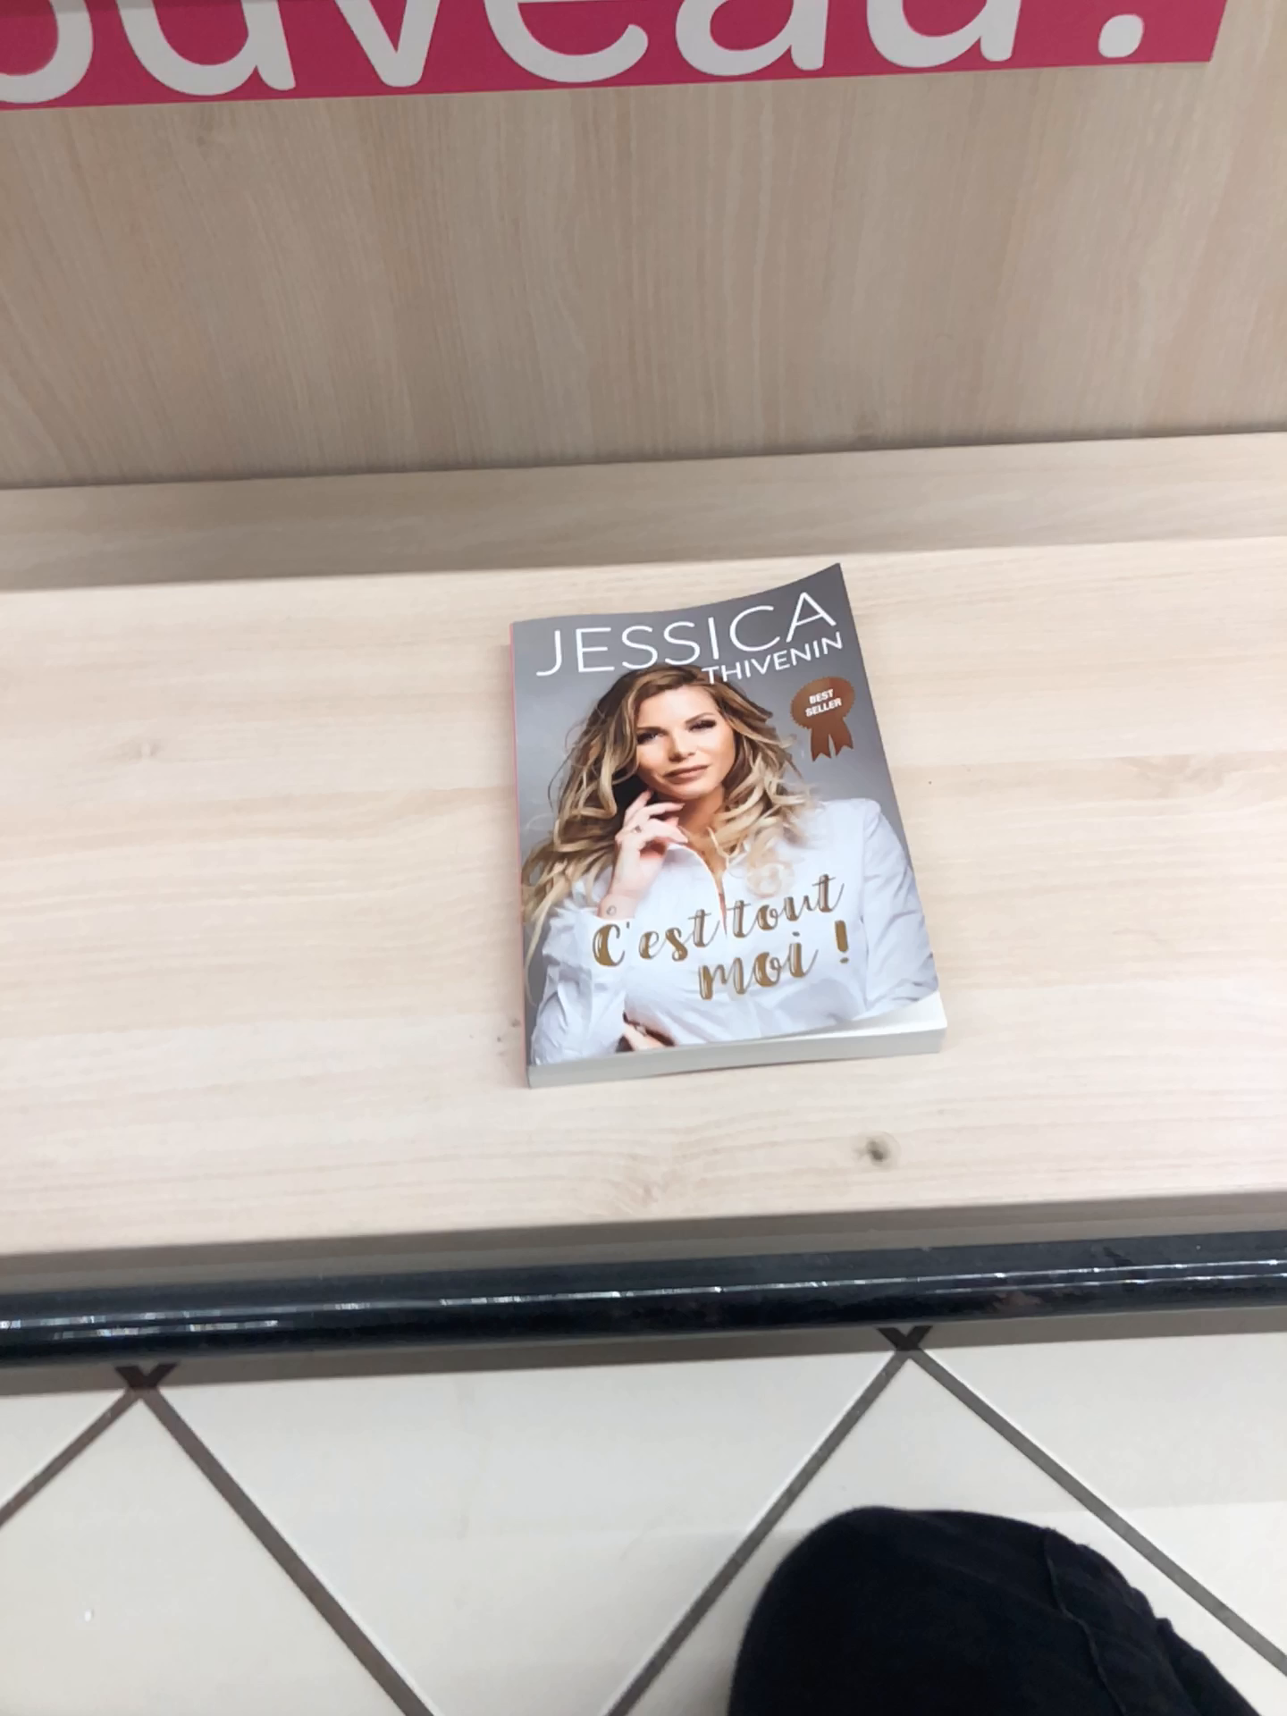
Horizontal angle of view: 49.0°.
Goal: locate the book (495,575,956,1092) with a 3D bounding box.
[{"bbox_3d":[0.021,-0.020,0.526,0.146,0.020,0.213,-5,54,-2],"label":"book"}]
